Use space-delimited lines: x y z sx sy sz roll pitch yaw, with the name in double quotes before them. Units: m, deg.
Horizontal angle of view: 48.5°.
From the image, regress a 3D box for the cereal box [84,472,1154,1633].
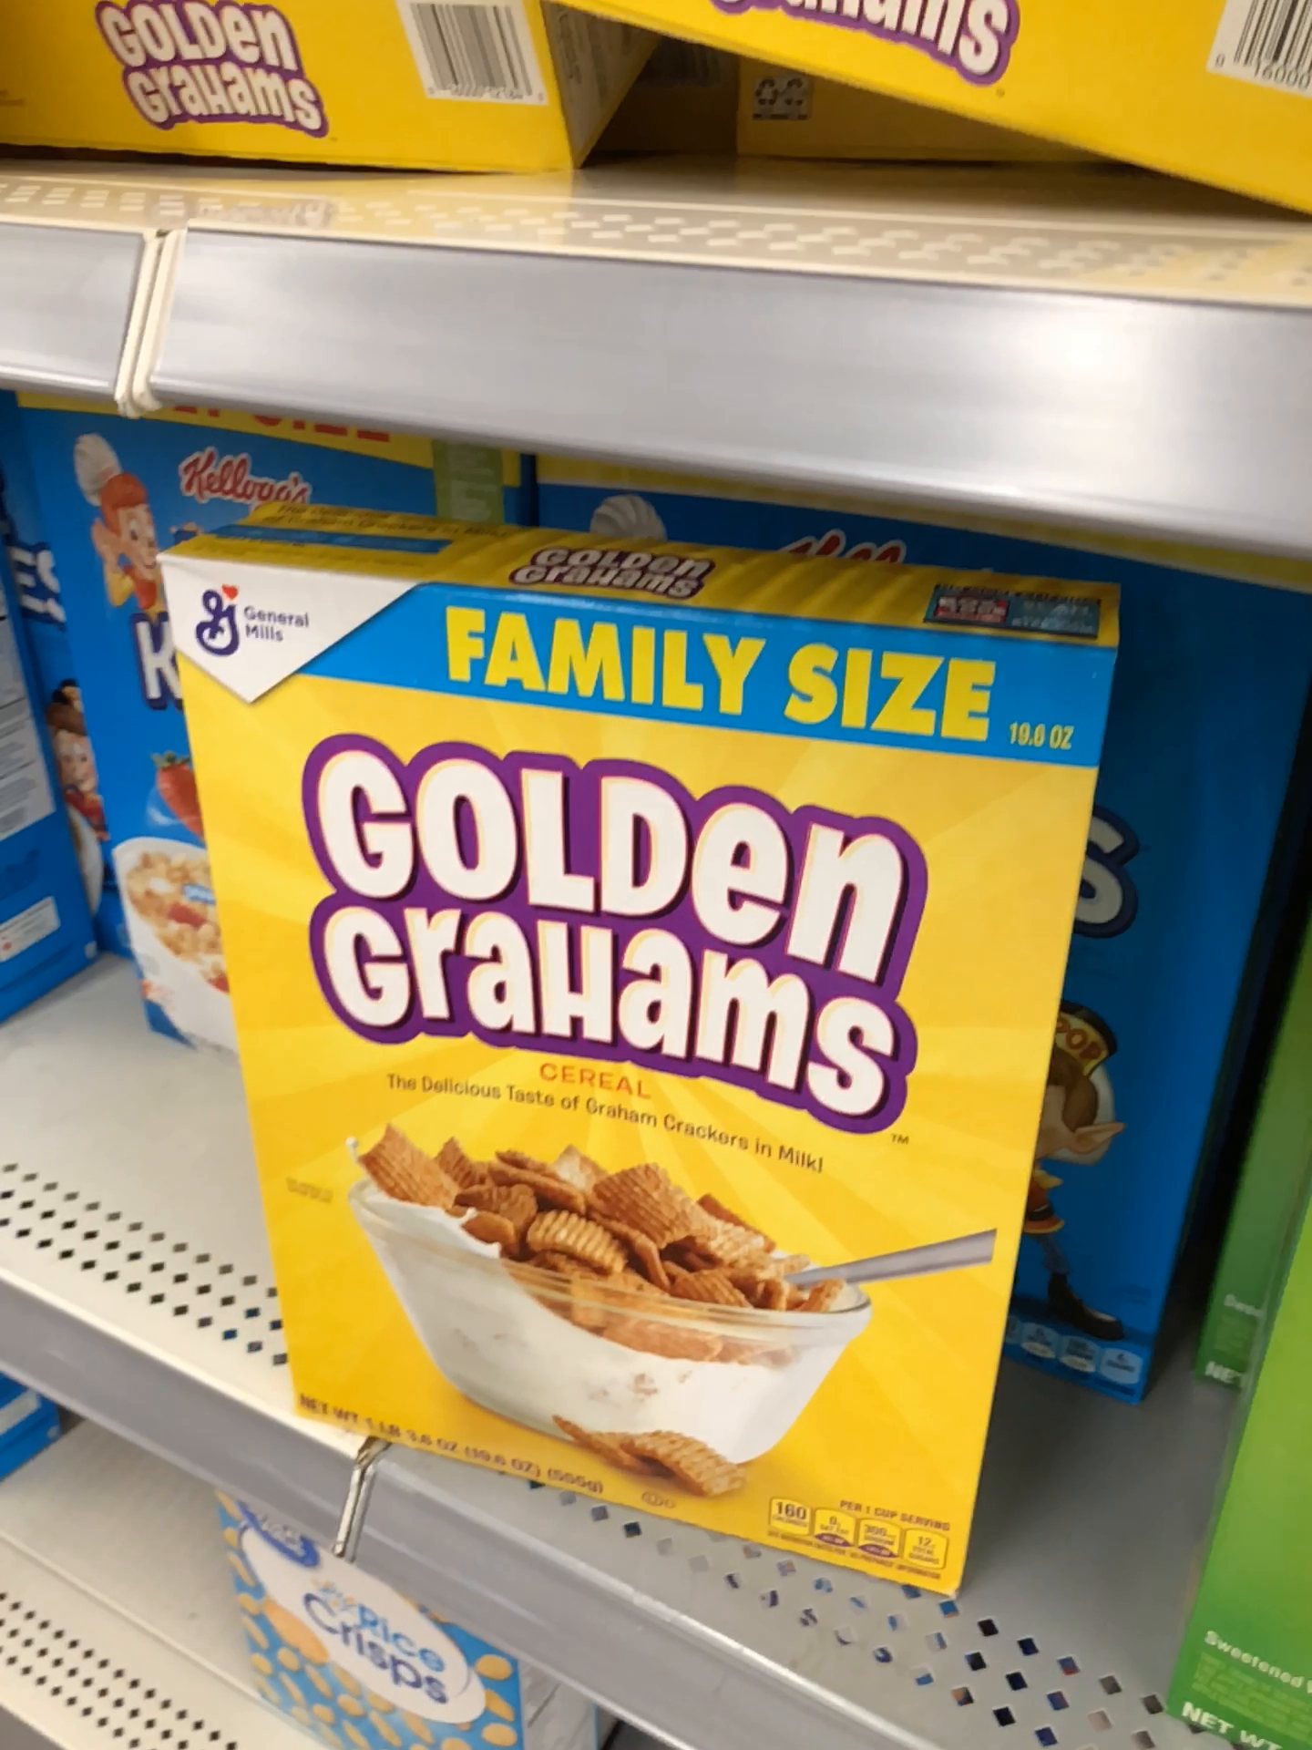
"cereal box" -0.009 0.058 0.417 0.240 0.309 0.070 9 31 15
